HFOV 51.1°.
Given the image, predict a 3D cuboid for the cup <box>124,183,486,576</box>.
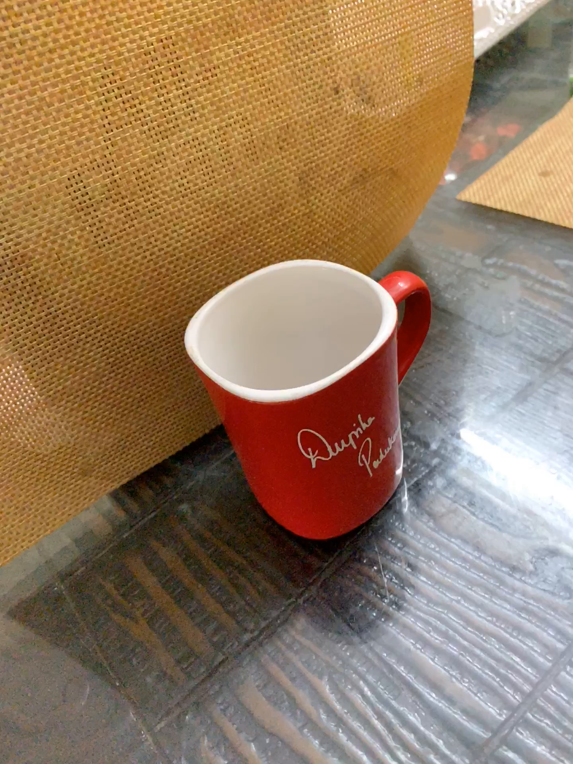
[{"bbox_3d":[0.014,-0.005,0.220,0.096,0.085,0.070,-40,49,-23],"label":"cup"}]
